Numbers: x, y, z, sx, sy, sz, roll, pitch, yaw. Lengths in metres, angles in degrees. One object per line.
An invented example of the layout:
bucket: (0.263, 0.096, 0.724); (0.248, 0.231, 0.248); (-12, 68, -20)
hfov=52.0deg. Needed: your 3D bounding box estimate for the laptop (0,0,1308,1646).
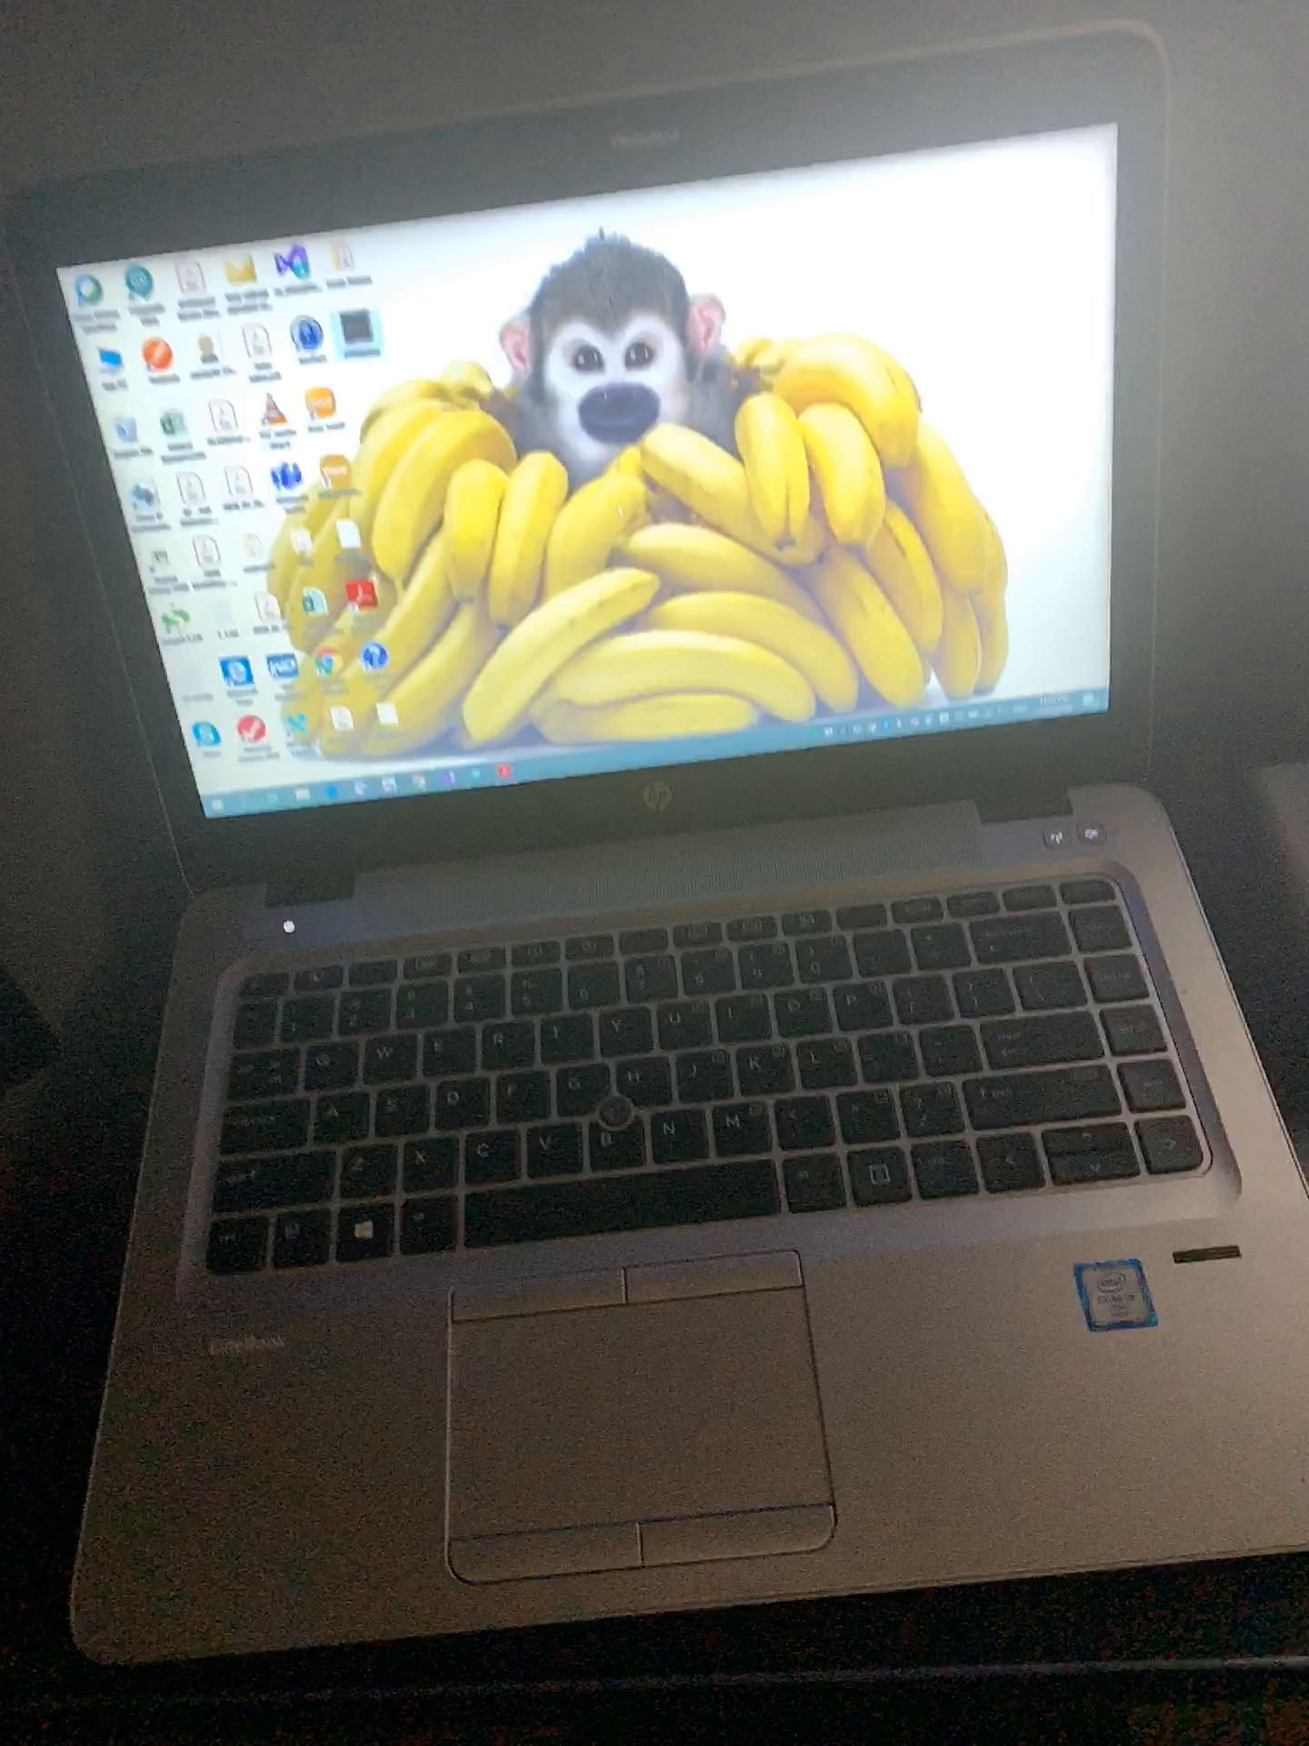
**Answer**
laptop: (-0.002, -0.030, 0.343); (0.318, 0.191, 0.327); (-7, 52, 2)
